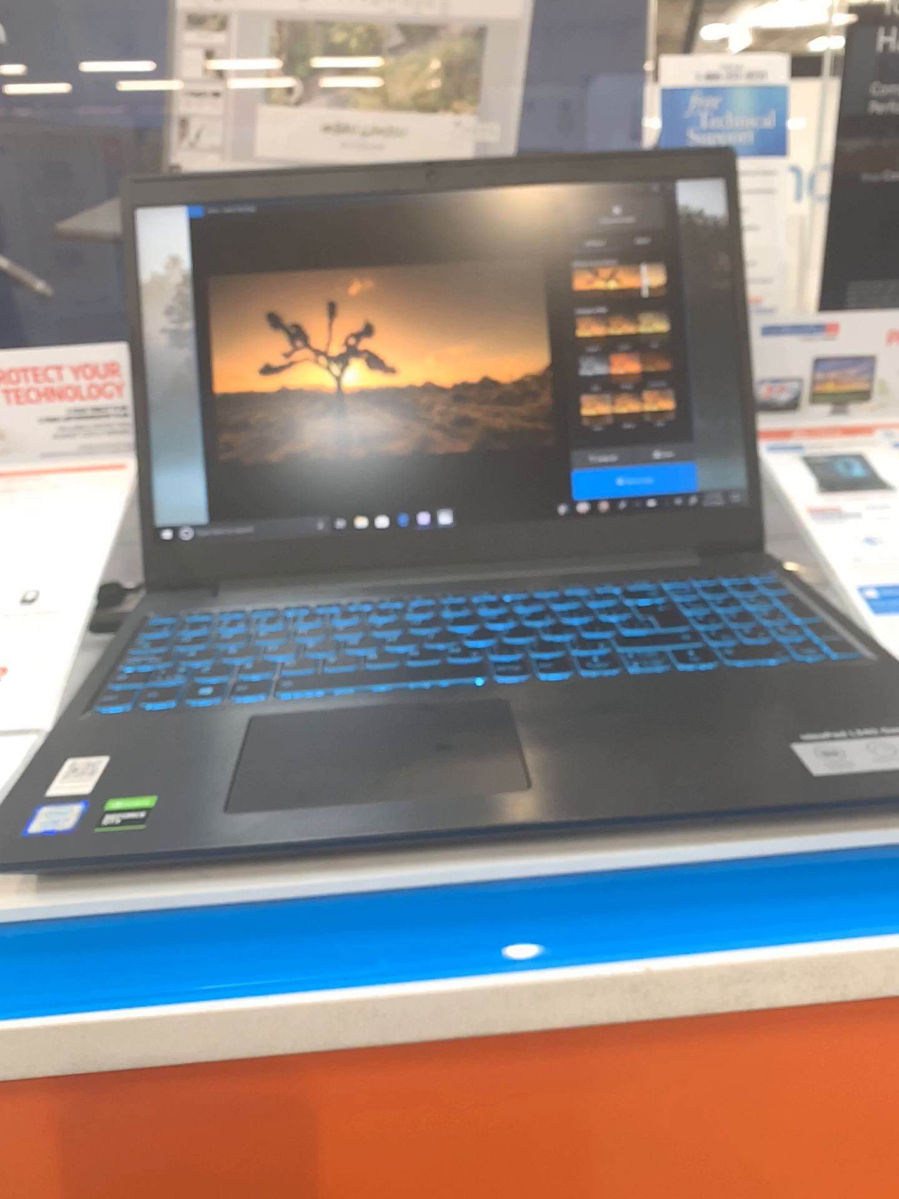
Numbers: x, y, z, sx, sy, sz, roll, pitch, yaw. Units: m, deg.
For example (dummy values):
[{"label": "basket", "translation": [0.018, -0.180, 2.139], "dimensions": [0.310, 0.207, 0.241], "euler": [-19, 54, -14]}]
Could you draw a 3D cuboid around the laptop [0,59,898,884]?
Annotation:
[{"label": "laptop", "translation": [0.012, -0.085, 0.414], "dimensions": [0.340, 0.214, 0.330], "euler": [-3, 21, -3]}]
